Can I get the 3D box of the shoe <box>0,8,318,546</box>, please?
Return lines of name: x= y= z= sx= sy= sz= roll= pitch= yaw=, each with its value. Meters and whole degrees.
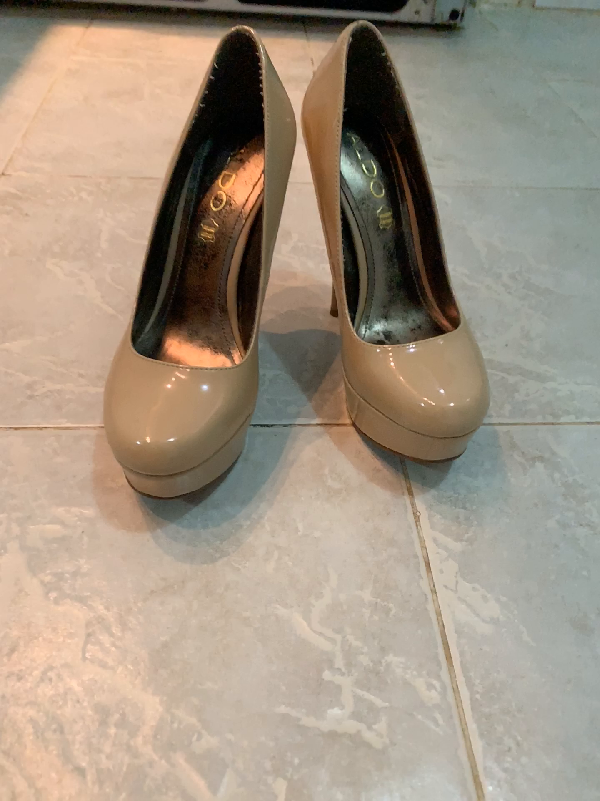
shoe: x=-0.051 y=-0.069 z=0.317 sx=0.087 sy=0.176 sz=0.211 roll=7 pitch=45 yaw=2

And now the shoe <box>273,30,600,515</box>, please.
shoe: x=0.053 y=-0.079 z=0.340 sx=0.087 sy=0.166 sz=0.211 roll=-8 pitch=47 yaw=-13
